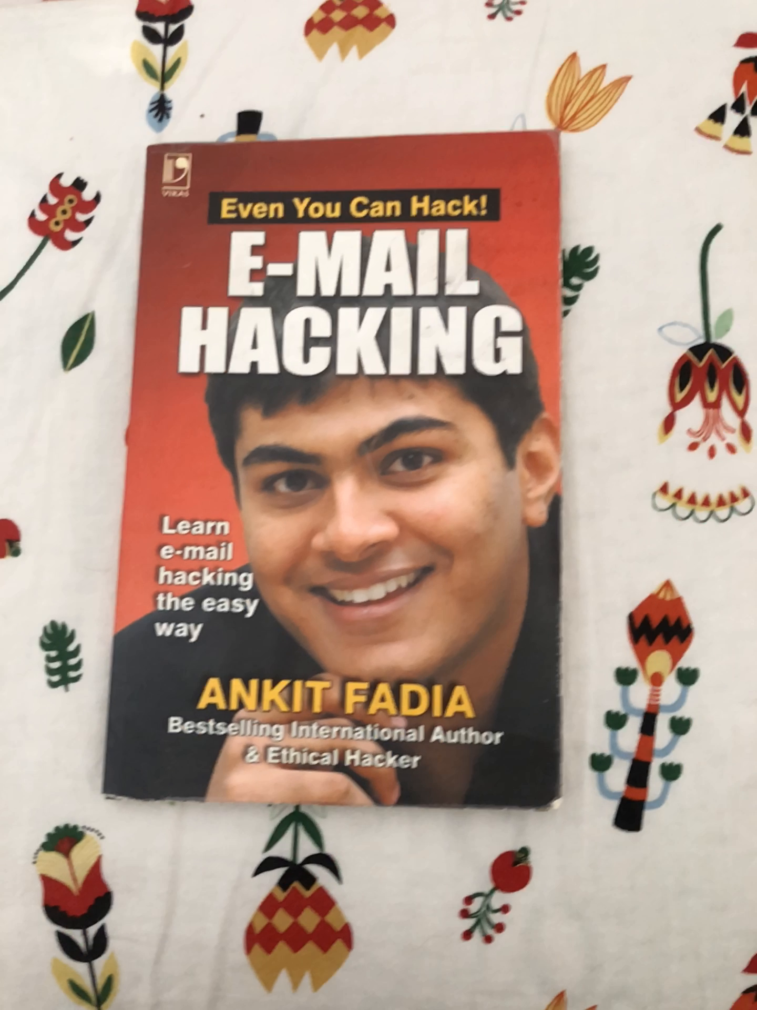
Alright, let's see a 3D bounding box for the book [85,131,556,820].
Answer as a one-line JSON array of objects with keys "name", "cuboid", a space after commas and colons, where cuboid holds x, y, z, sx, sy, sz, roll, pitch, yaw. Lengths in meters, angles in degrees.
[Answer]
[{"name": "book", "cuboid": [-0.016, -0.012, 0.264, 0.137, 0.020, 0.204, 1, 84, 5]}]
